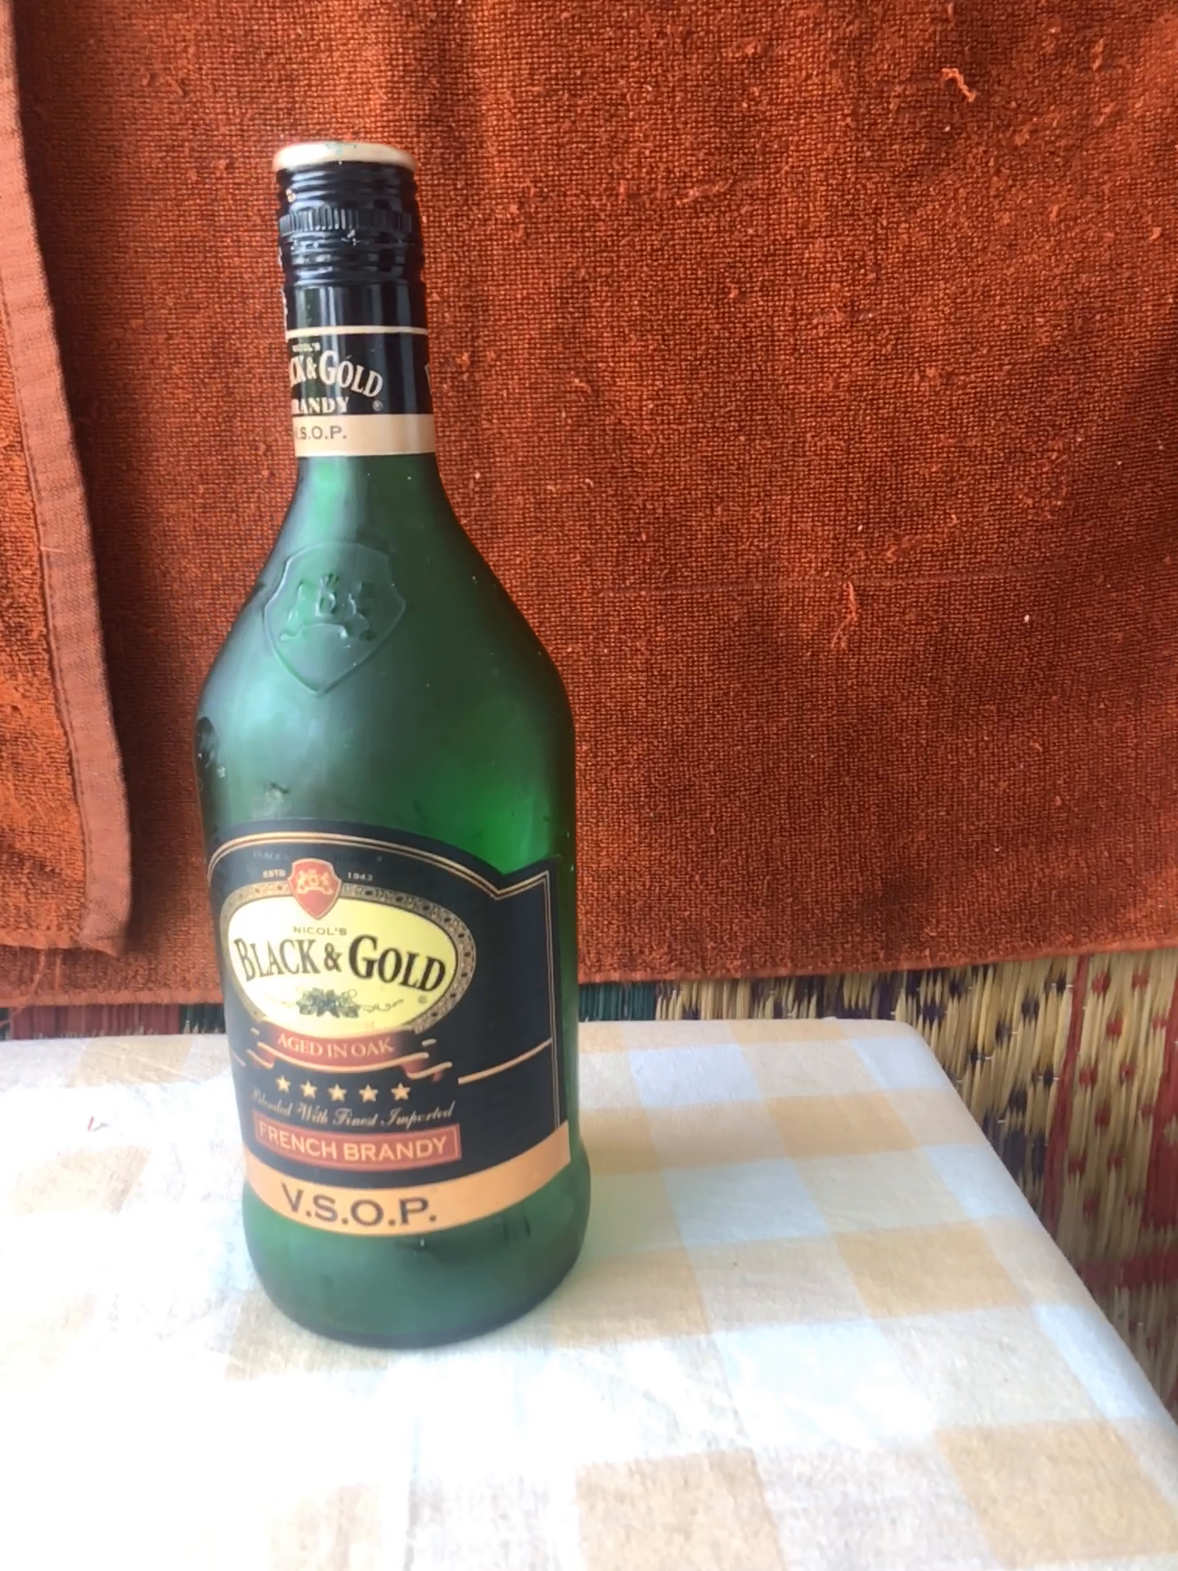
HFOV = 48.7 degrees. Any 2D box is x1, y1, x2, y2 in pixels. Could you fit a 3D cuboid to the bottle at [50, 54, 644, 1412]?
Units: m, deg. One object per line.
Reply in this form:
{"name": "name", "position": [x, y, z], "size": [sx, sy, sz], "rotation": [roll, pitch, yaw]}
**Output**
{"name": "bottle", "position": [-0.041, -0.005, 0.288], "size": [0.090, 0.259, 0.080], "rotation": [4, 16, 12]}
